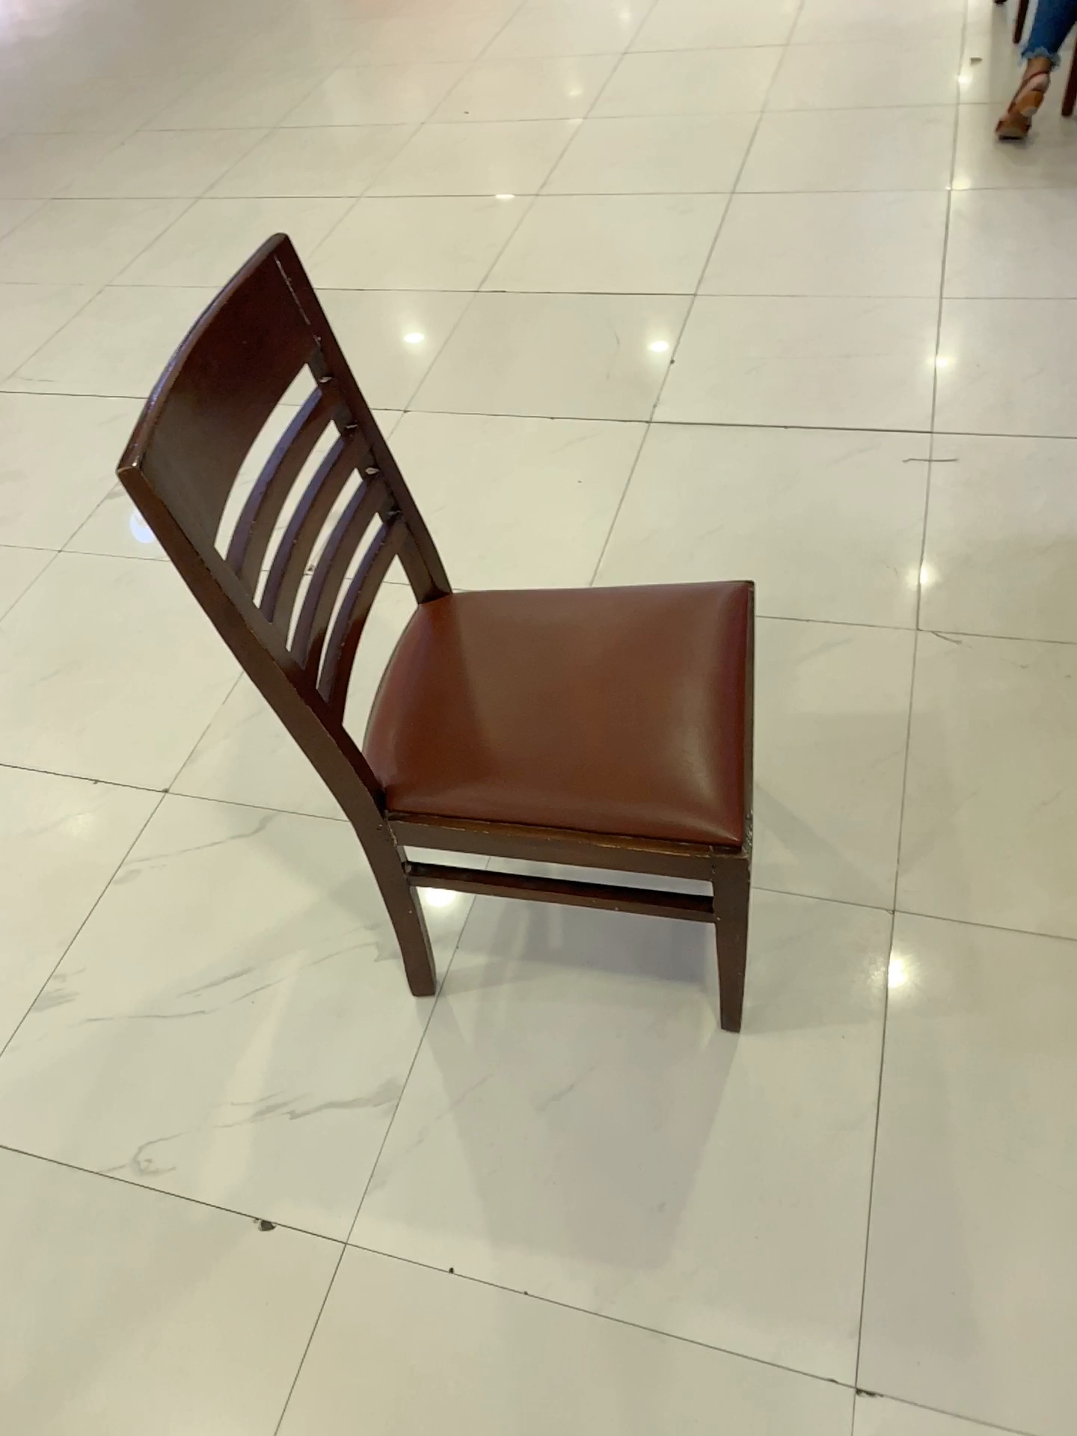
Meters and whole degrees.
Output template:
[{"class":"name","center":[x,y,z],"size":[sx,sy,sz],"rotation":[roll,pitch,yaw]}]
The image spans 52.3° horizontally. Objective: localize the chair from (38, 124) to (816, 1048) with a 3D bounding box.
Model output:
[{"class":"chair","center":[-0.002,-0.104,1.202],"size":[0.540,0.783,0.564],"rotation":[1,47,11]}]
